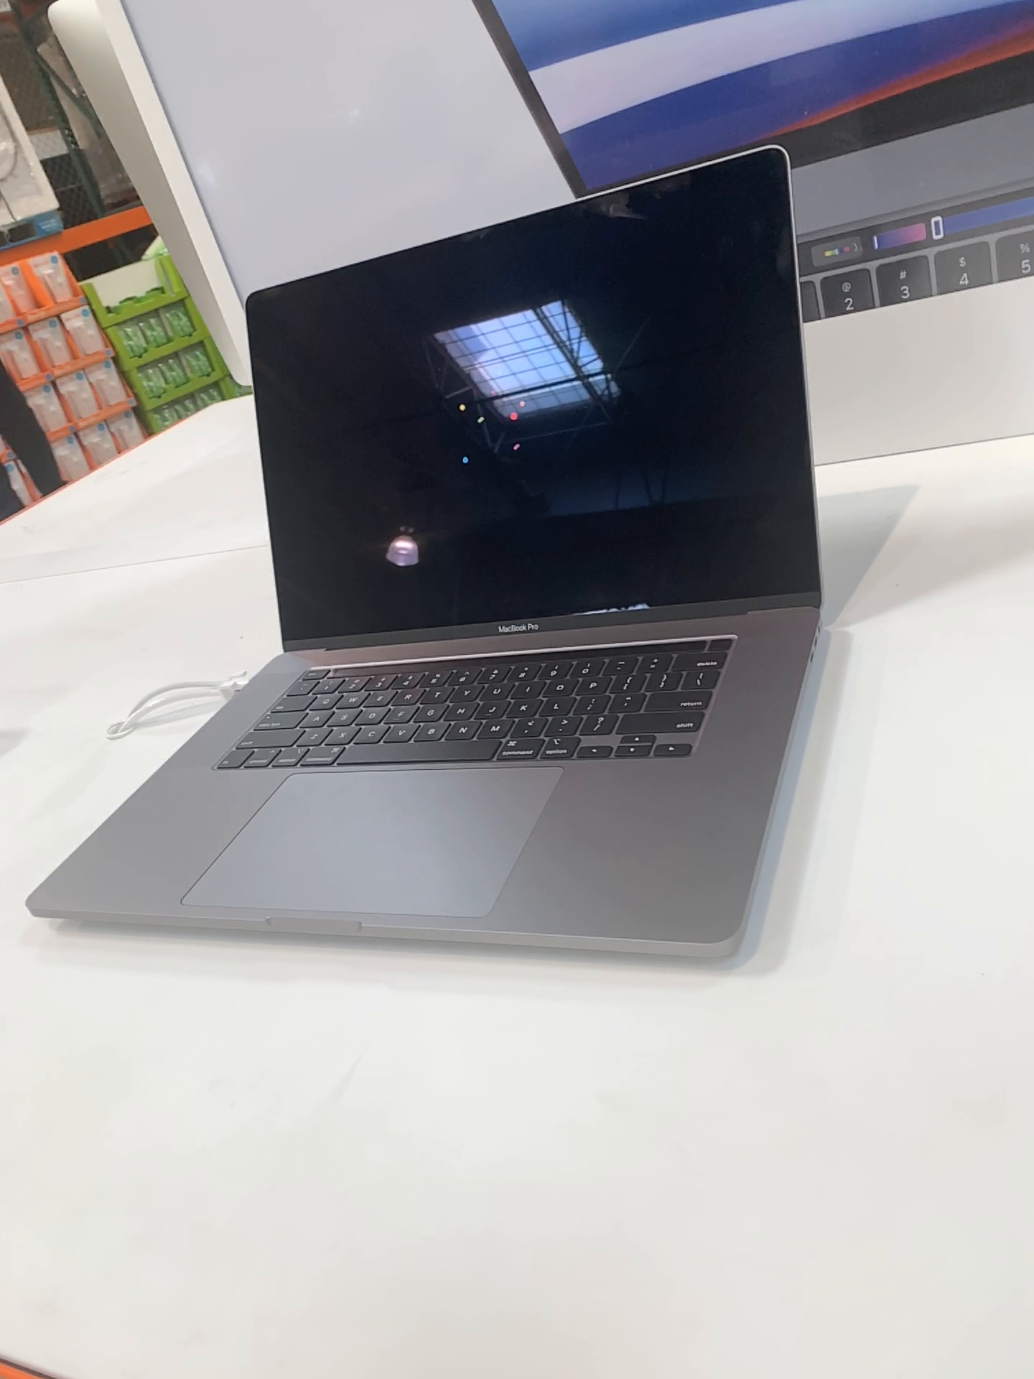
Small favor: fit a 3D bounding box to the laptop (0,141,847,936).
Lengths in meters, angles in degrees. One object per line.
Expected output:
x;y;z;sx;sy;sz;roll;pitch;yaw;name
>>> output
-0.049;-0.085;0.517;0.341;0.203;0.346;-4;30;26;laptop
